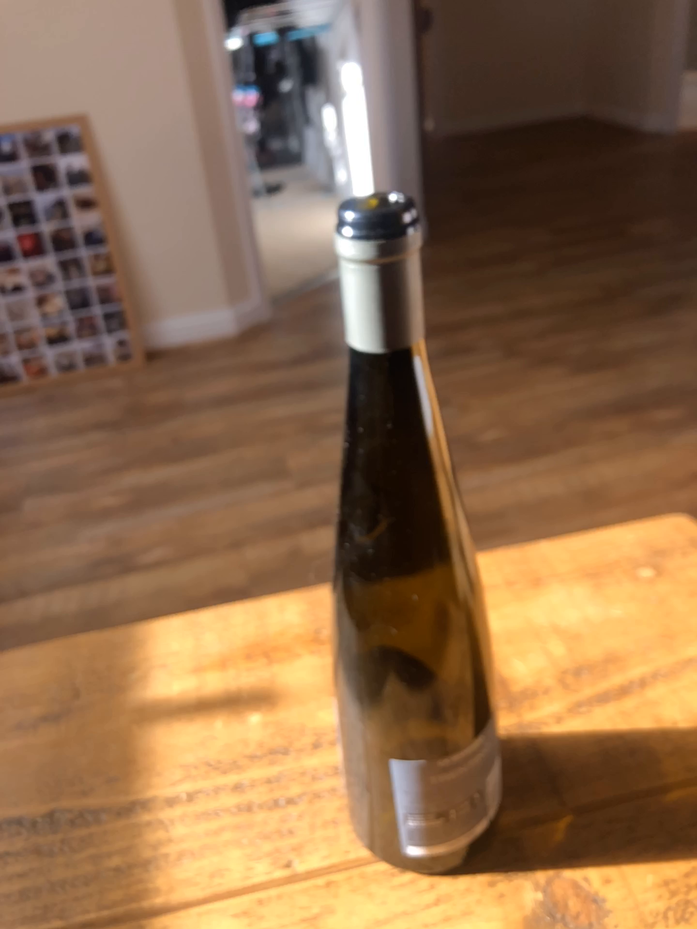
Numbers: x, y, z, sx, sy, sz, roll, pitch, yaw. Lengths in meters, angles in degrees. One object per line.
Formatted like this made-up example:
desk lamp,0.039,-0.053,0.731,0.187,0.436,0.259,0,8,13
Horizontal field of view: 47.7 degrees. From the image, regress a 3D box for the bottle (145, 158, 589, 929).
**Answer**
bottle,0.020,0.061,0.336,0.100,0.337,0.100,-5,31,3
